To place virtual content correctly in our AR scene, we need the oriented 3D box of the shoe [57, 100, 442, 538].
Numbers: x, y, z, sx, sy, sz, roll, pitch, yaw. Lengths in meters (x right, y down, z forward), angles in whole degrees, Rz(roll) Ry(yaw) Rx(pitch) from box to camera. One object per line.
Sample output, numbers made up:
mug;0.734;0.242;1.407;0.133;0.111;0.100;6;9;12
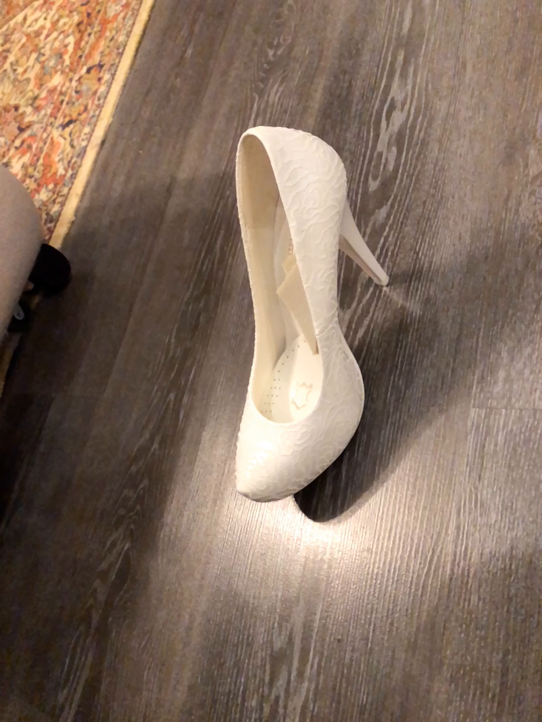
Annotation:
shoe;-0.002;-0.020;0.374;0.090;0.149;0.210;17;78;45
